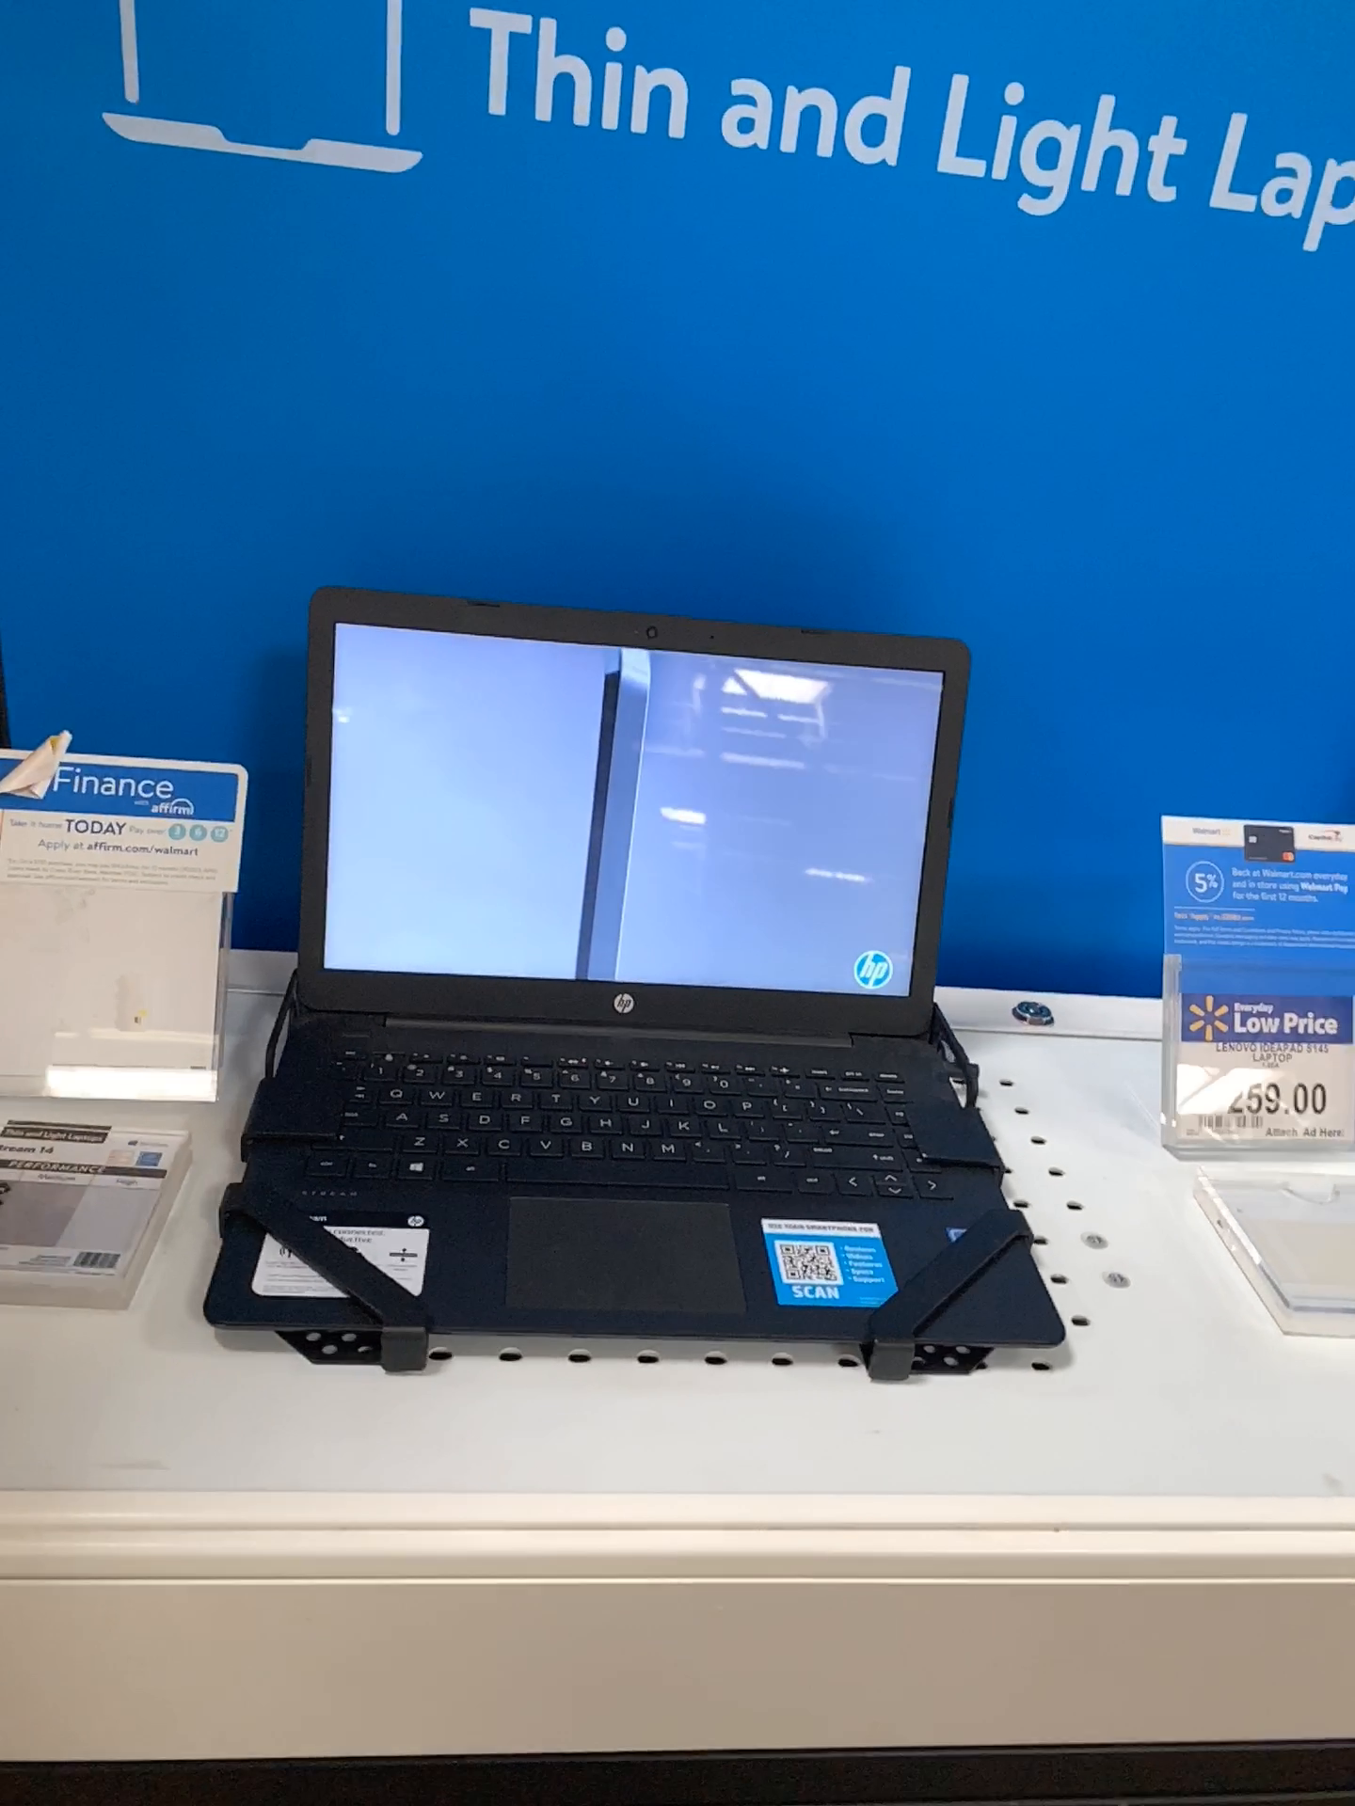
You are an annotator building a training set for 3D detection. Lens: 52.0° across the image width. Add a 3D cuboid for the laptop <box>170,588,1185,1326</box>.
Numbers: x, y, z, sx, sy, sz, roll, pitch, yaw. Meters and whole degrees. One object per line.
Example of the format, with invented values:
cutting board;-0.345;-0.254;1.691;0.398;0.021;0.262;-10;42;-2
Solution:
laptop;-0.016;0.008;0.604;0.325;0.203;0.270;3;25;-7
